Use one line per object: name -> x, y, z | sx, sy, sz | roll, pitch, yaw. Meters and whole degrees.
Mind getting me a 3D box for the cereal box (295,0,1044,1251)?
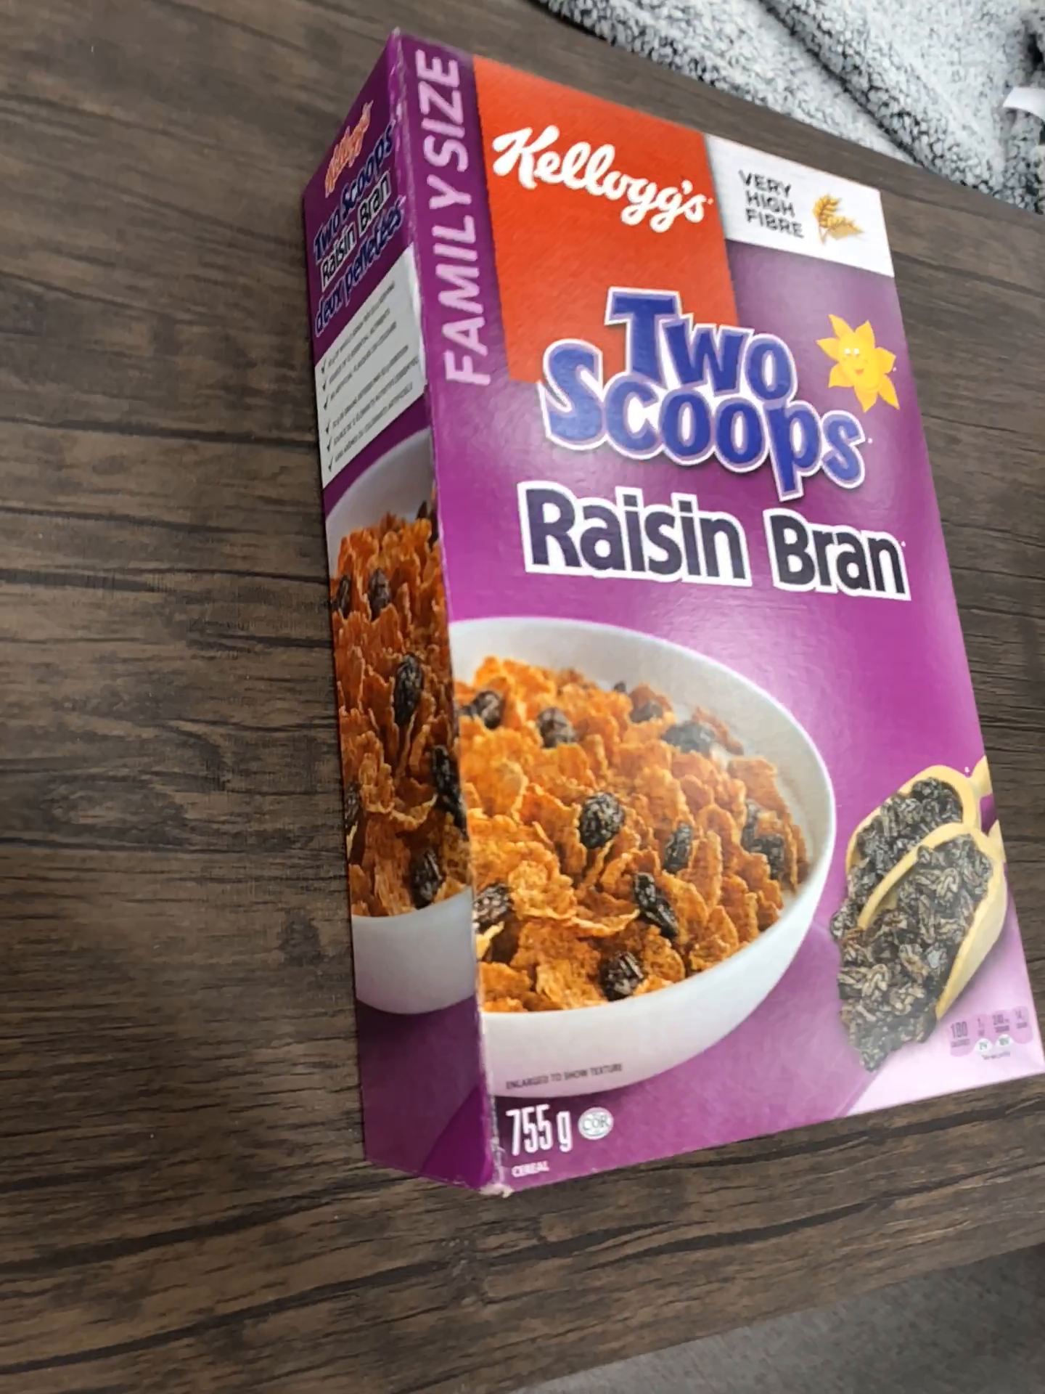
cereal box -> 0.052, -0.027, 0.365 | 0.210, 0.080, 0.320 | 1, 76, -31
